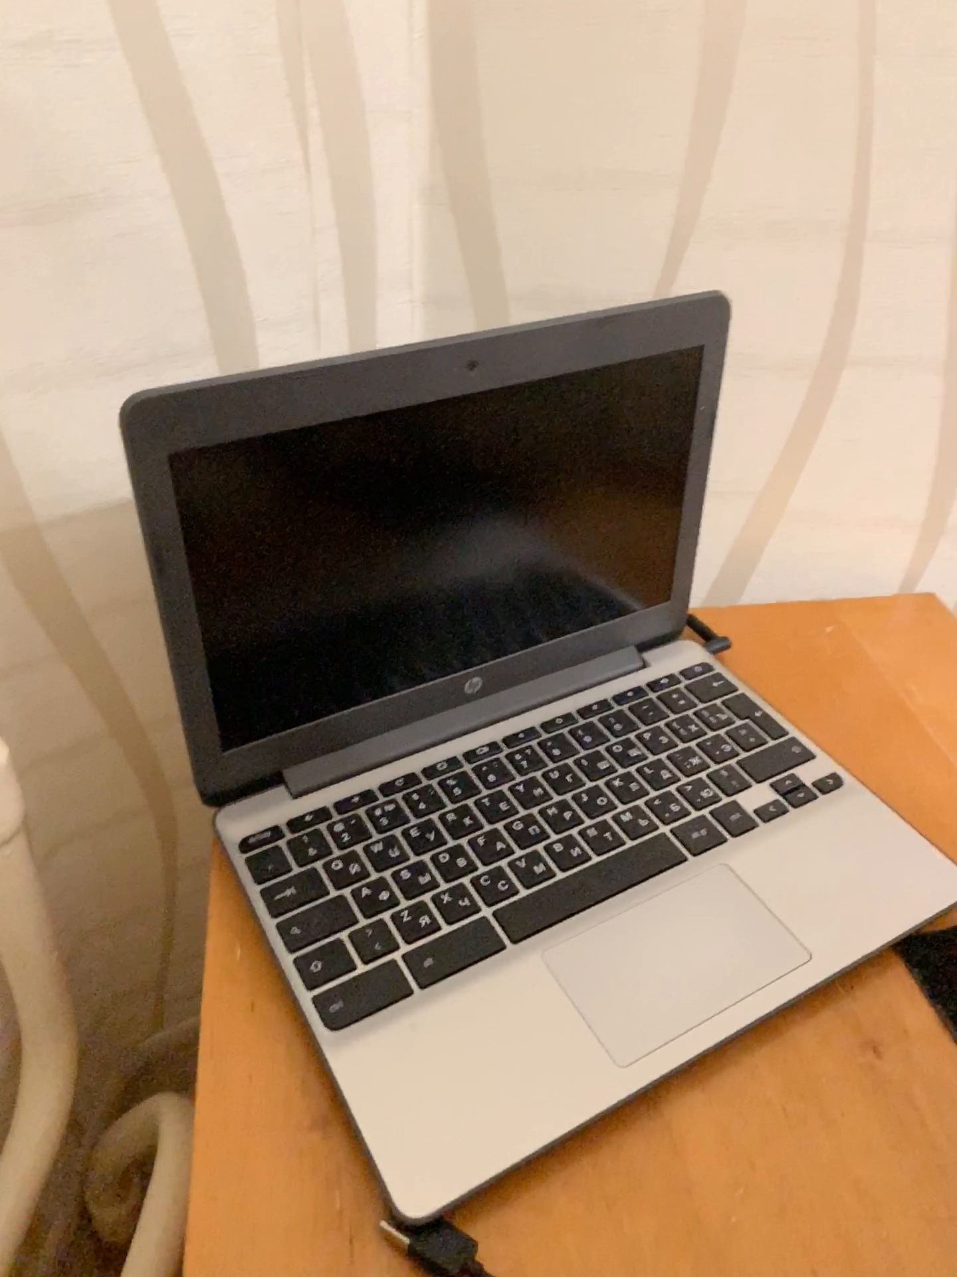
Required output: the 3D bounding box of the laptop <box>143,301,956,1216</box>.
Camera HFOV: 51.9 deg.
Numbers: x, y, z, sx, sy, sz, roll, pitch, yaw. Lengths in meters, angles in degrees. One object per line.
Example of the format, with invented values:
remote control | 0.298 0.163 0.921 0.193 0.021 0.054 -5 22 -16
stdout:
laptop | 0.048 0.011 0.381 0.271 0.187 0.207 -18 41 -25
